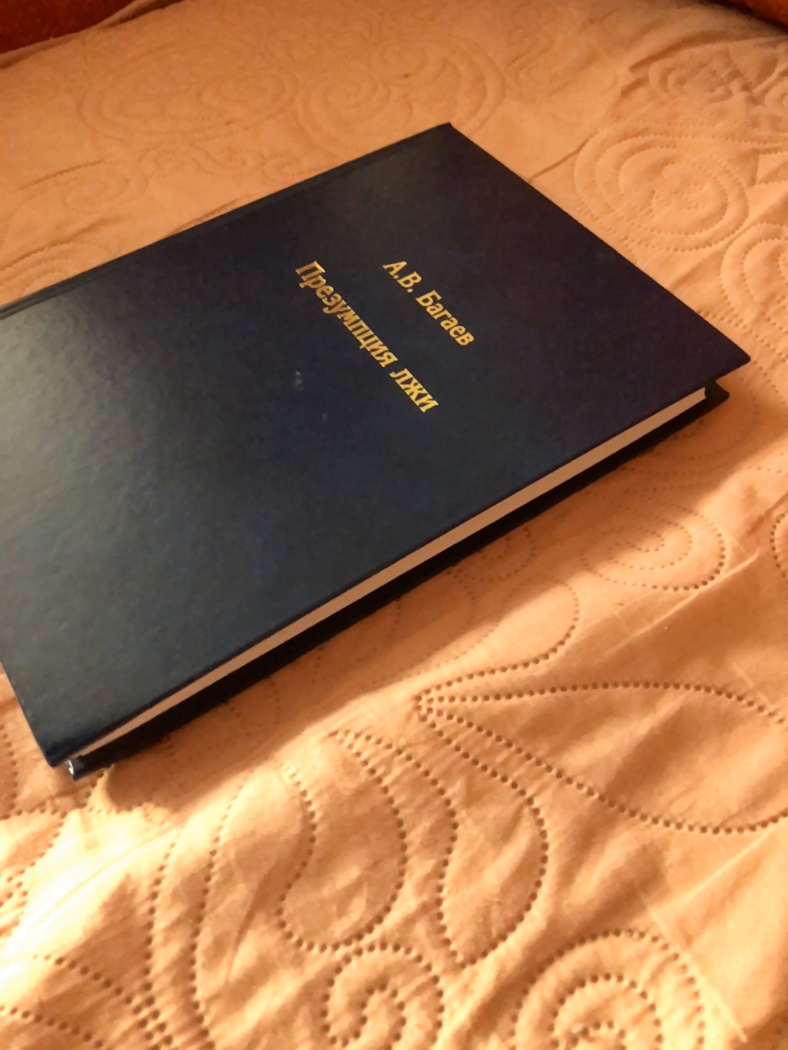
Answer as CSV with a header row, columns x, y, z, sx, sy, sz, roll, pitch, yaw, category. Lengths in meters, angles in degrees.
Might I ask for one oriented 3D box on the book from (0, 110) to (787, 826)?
x,y,z,sx,sy,sz,roll,pitch,yaw,category
-0.023,-0.049,0.306,0.261,0.030,0.181,-29,58,-16,book
